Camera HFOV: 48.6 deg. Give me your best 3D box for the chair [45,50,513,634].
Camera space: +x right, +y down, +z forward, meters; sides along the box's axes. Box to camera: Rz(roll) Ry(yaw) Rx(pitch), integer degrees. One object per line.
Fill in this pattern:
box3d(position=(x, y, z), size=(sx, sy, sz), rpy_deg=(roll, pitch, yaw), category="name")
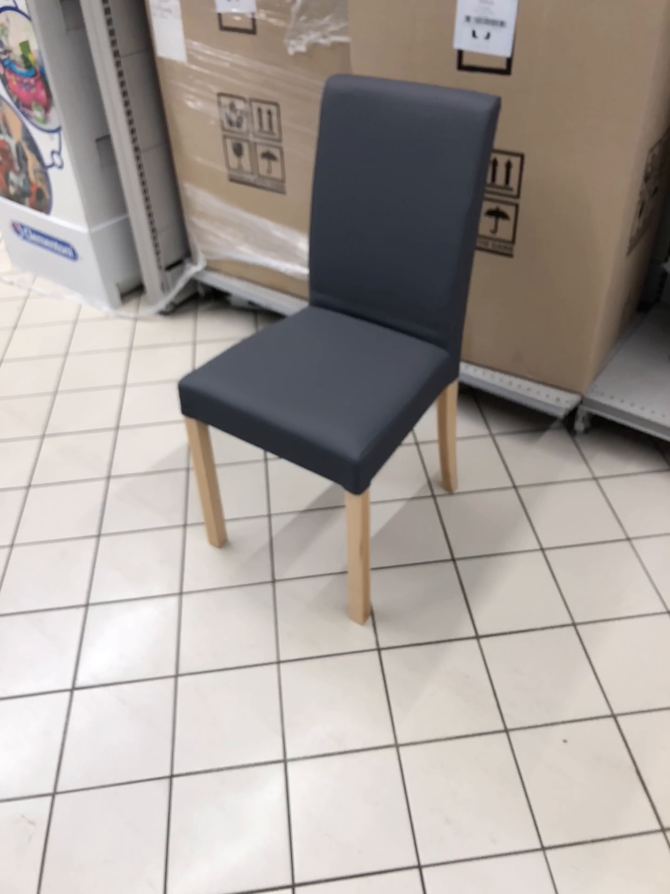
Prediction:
box3d(position=(-0.037, -0.205, 1.395), size=(0.470, 0.825, 0.573), rpy_deg=(20, 46, 26), category="chair")
